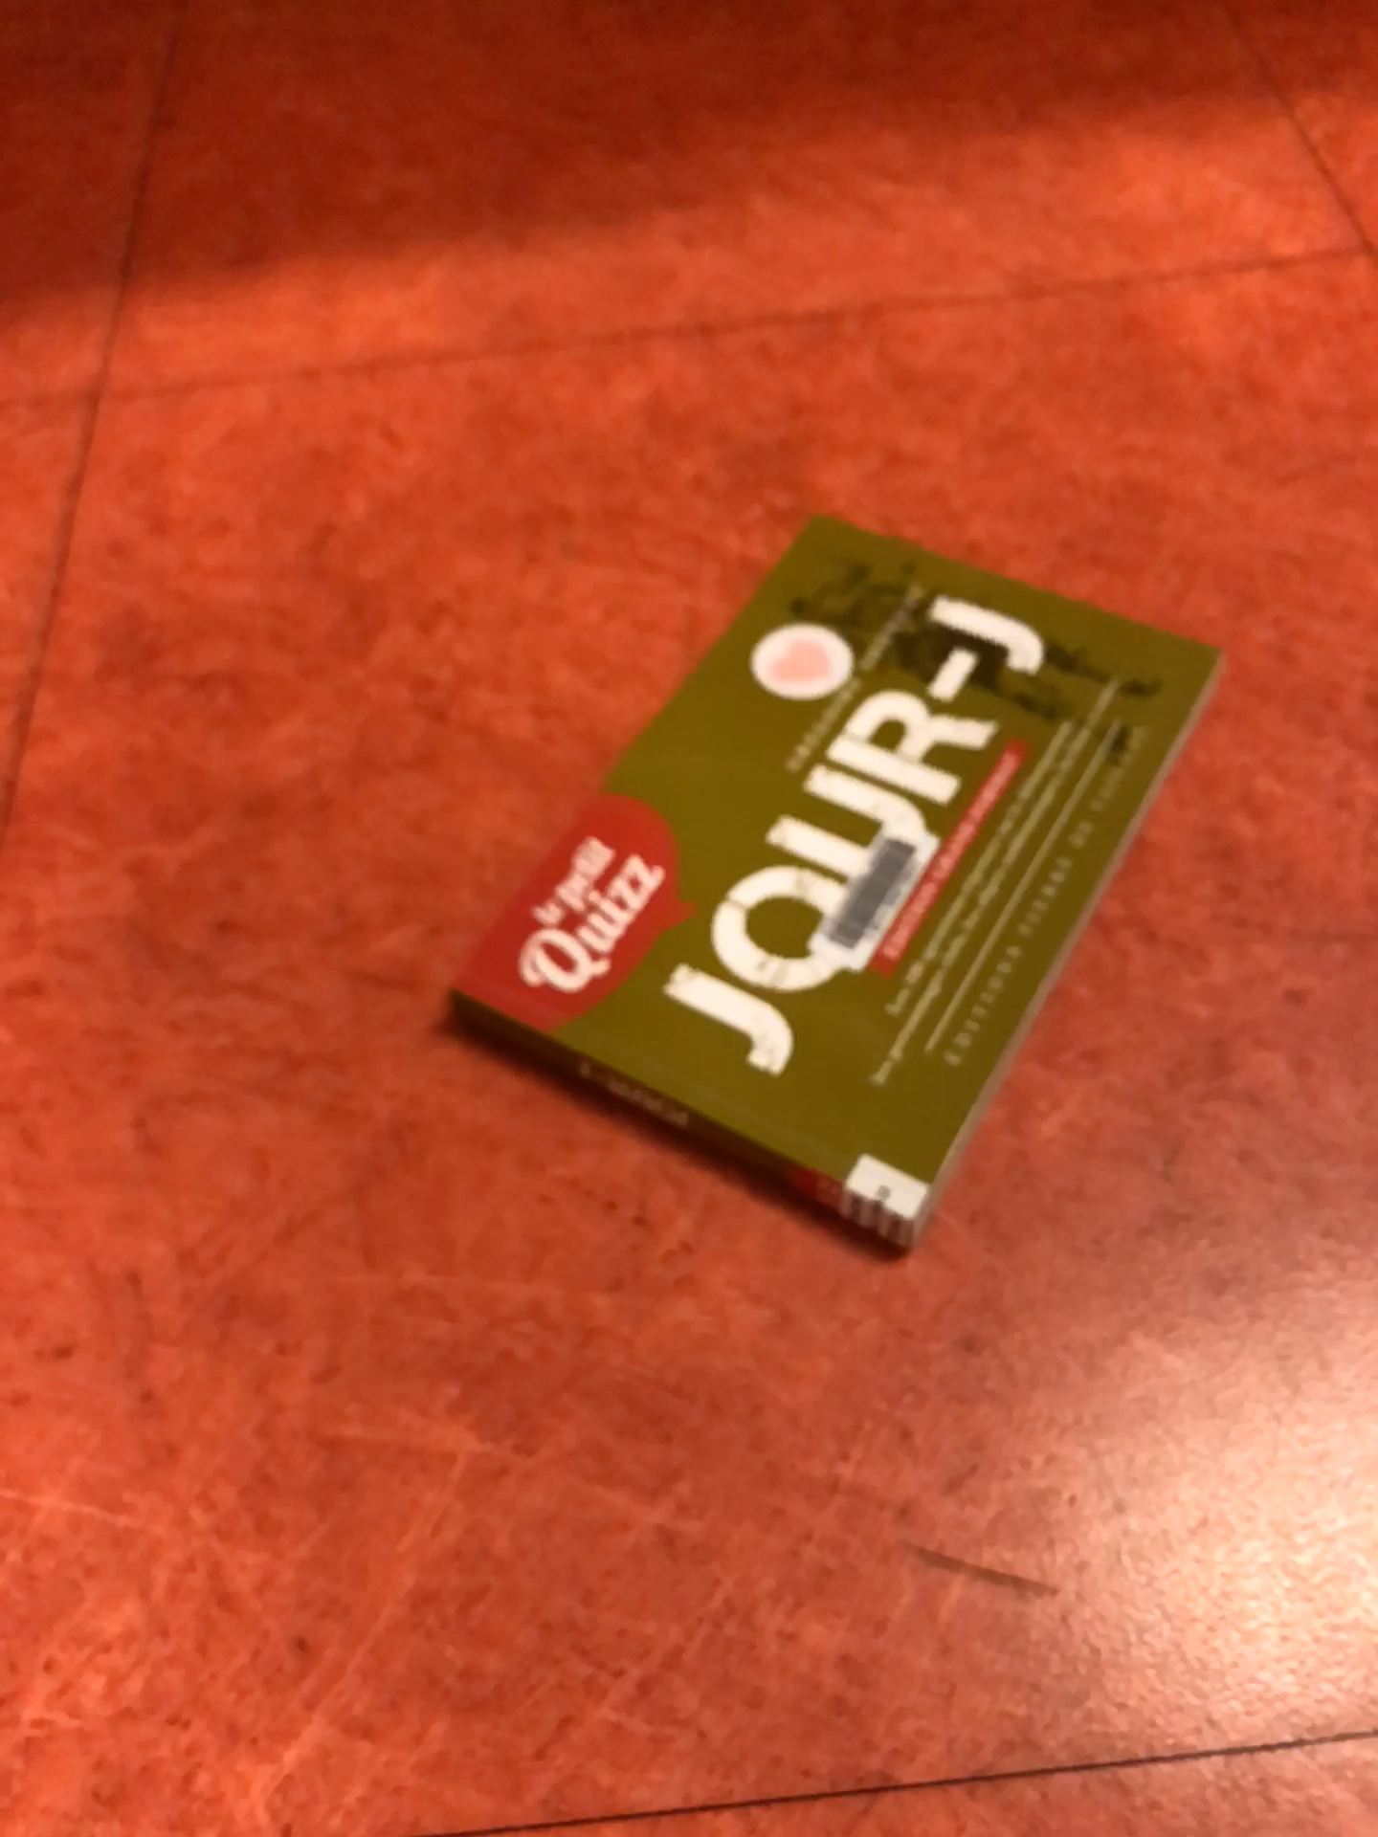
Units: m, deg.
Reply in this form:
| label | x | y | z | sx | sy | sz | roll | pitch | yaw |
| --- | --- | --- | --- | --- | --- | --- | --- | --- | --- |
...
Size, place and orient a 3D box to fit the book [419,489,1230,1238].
| label | x | y | z | sx | sy | sz | roll | pitch | yaw |
| --- | --- | --- | --- | --- | --- | --- | --- | --- | --- |
| book | 0.046 | -0.033 | 0.436 | 0.136 | 0.016 | 0.219 | 24 | 58 | 21 |
